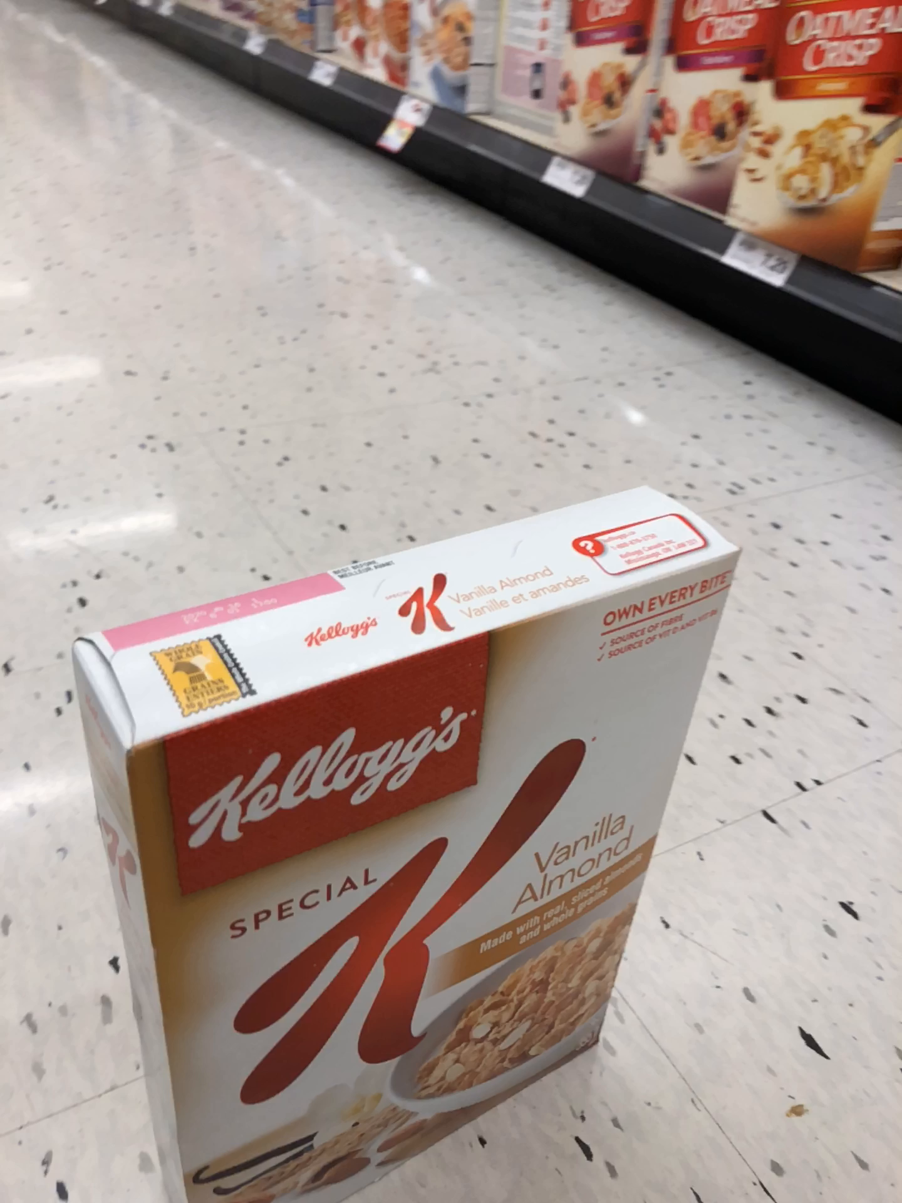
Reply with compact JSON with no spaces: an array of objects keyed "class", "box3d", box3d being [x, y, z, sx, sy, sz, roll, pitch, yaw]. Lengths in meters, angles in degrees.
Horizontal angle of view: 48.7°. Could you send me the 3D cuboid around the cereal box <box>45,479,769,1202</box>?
[{"class":"cereal box","box3d":[-0.010,0.104,0.340,0.201,0.258,0.050,-17,38,-30]}]
